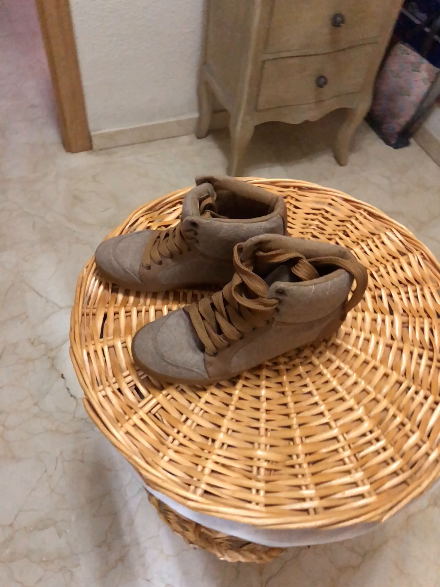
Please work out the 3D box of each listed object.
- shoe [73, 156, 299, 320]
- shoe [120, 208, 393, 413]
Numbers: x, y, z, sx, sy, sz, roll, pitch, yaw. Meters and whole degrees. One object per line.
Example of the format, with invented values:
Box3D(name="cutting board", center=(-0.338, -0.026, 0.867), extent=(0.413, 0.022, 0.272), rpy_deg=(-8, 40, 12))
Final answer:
Box3D(name="shoe", center=(-0.040, -0.060, 0.606), extent=(0.238, 0.178, 0.080), rpy_deg=(6, 54, -2))
Box3D(name="shoe", center=(0.027, 0.021, 0.521), extent=(0.238, 0.168, 0.096), rpy_deg=(-12, 57, -14))
